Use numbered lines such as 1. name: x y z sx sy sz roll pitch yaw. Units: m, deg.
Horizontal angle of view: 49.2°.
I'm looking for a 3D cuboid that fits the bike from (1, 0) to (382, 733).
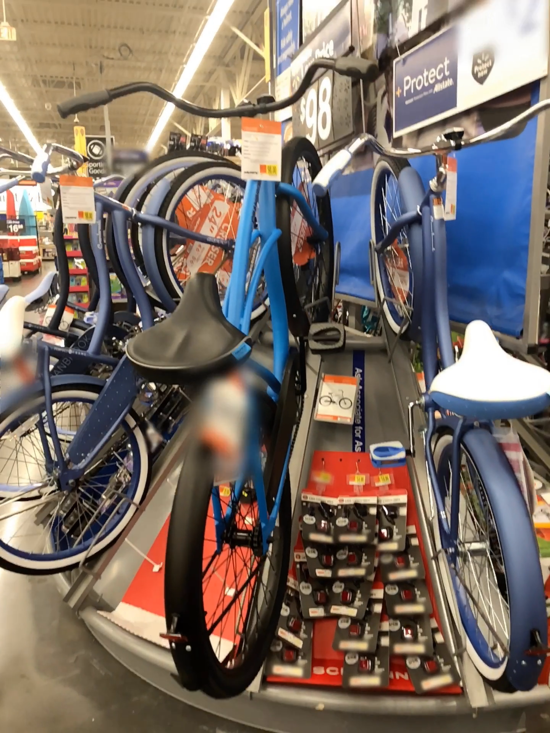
1. bike: -0.057 -0.543 1.497 0.505 1.120 1.567 2 39 13
